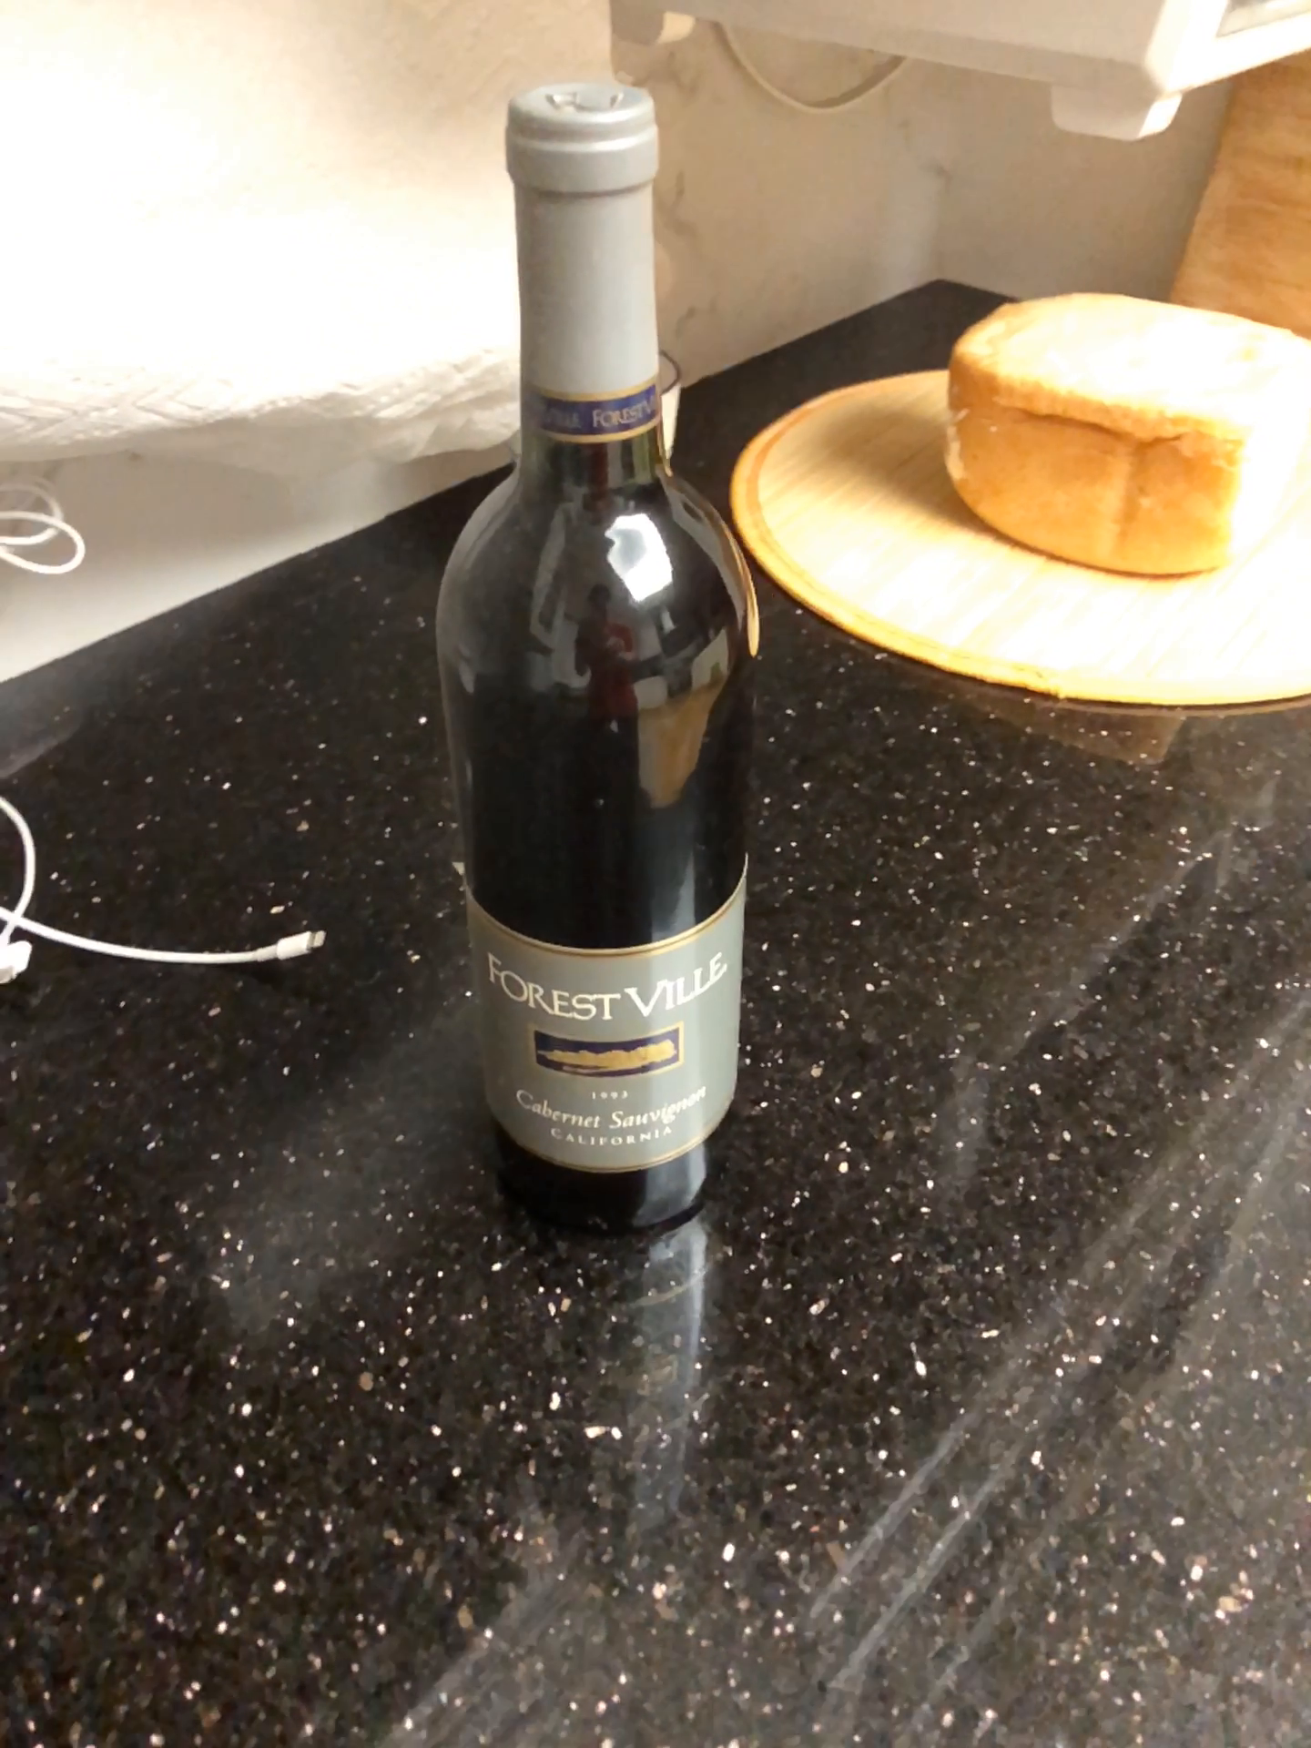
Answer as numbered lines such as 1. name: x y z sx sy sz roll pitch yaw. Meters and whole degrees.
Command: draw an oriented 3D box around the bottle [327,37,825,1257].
1. bottle: -0.014 -0.031 0.363 0.080 0.298 0.091 0 40 -1
